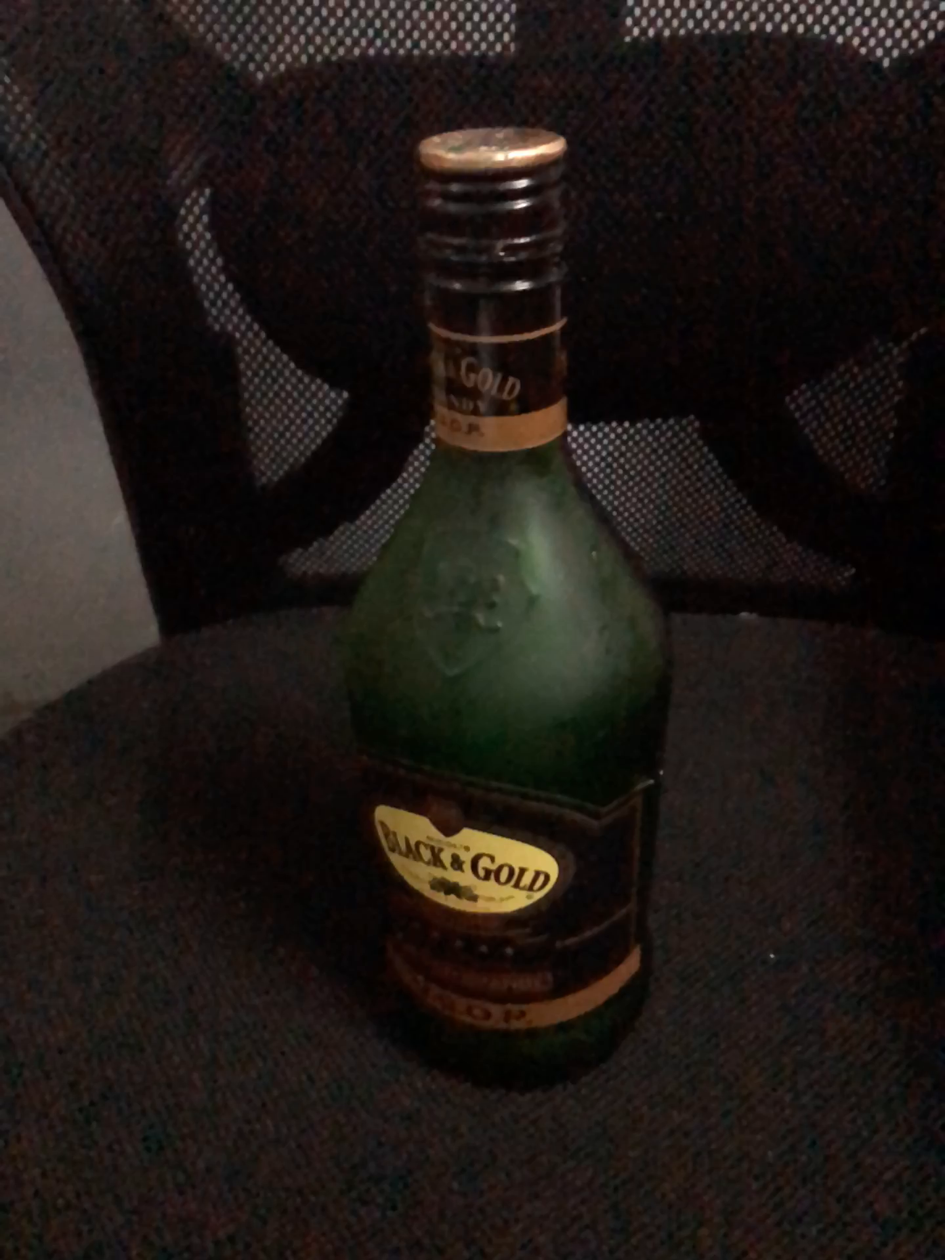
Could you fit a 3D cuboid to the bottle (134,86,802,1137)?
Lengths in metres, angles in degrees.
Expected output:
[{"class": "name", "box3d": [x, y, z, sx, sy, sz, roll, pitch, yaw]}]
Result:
[{"class": "bottle", "box3d": [0.004, 0.010, 0.287, 0.110, 0.268, 0.080, 14, 38, 19]}]
